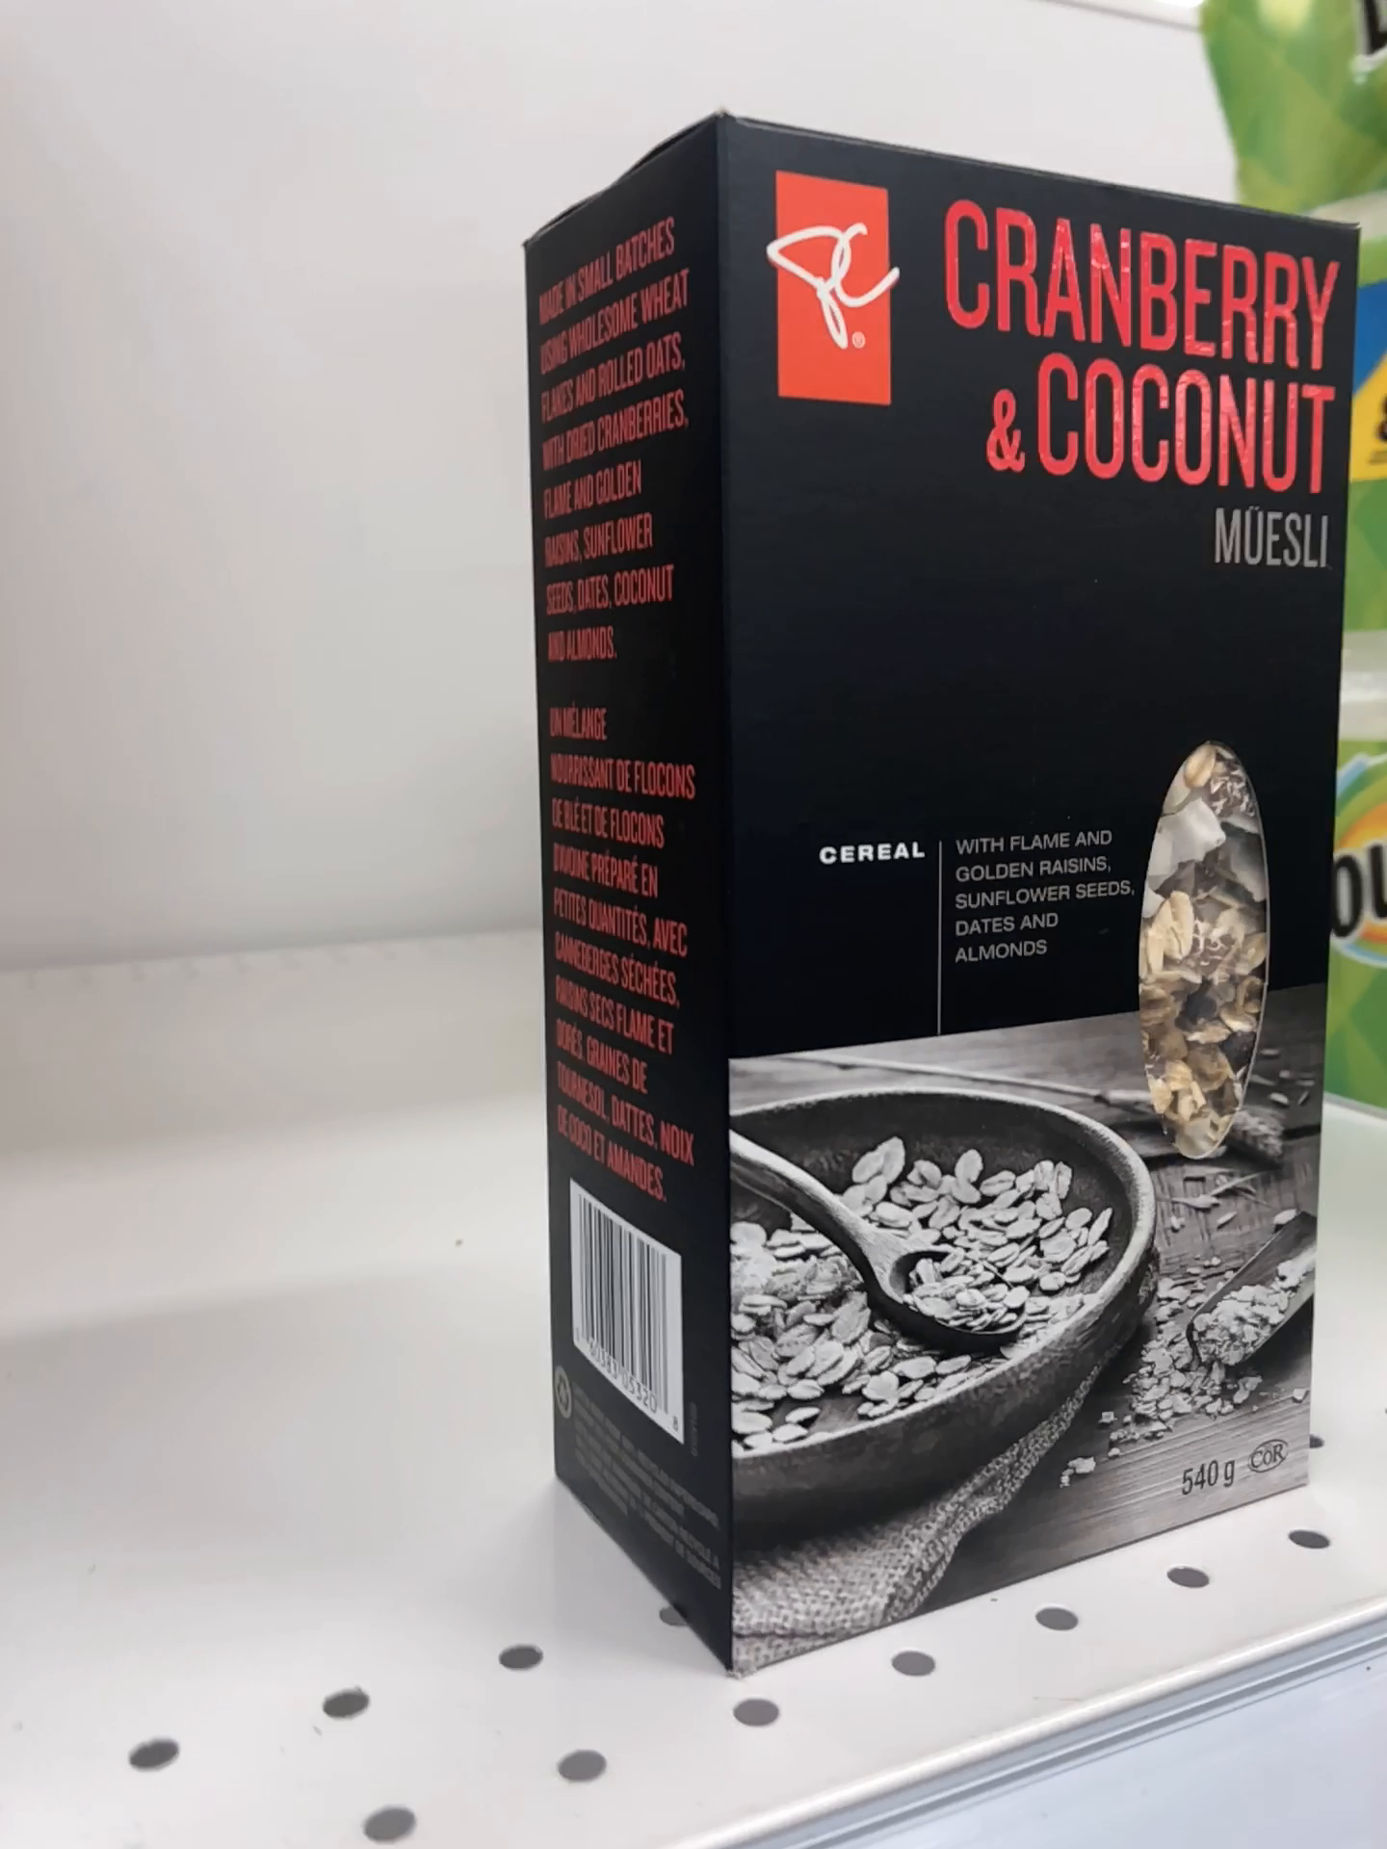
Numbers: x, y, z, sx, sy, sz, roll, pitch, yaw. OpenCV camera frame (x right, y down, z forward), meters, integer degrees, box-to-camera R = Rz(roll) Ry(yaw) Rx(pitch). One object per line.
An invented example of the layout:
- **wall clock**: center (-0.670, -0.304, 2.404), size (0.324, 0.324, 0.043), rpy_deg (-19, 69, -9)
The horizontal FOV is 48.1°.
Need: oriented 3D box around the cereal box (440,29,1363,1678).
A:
- **cereal box**: center (0.034, -0.011, 0.246), size (0.120, 0.200, 0.070), rpy_deg (-5, 7, -27)
